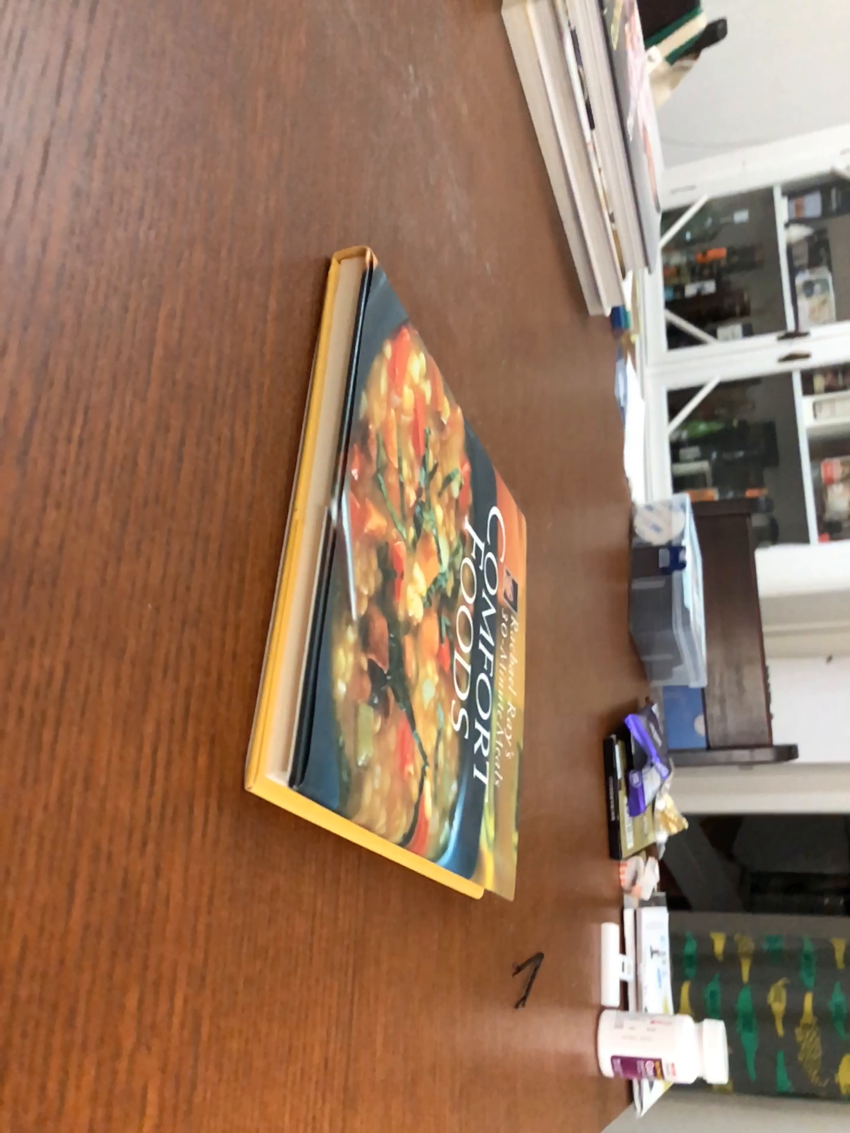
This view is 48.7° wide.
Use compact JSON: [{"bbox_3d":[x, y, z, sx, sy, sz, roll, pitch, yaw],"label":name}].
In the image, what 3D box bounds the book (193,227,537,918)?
[{"bbox_3d":[-0.001,0.019,0.373,0.211,0.030,0.200,51,39,-55],"label":"book"}]
